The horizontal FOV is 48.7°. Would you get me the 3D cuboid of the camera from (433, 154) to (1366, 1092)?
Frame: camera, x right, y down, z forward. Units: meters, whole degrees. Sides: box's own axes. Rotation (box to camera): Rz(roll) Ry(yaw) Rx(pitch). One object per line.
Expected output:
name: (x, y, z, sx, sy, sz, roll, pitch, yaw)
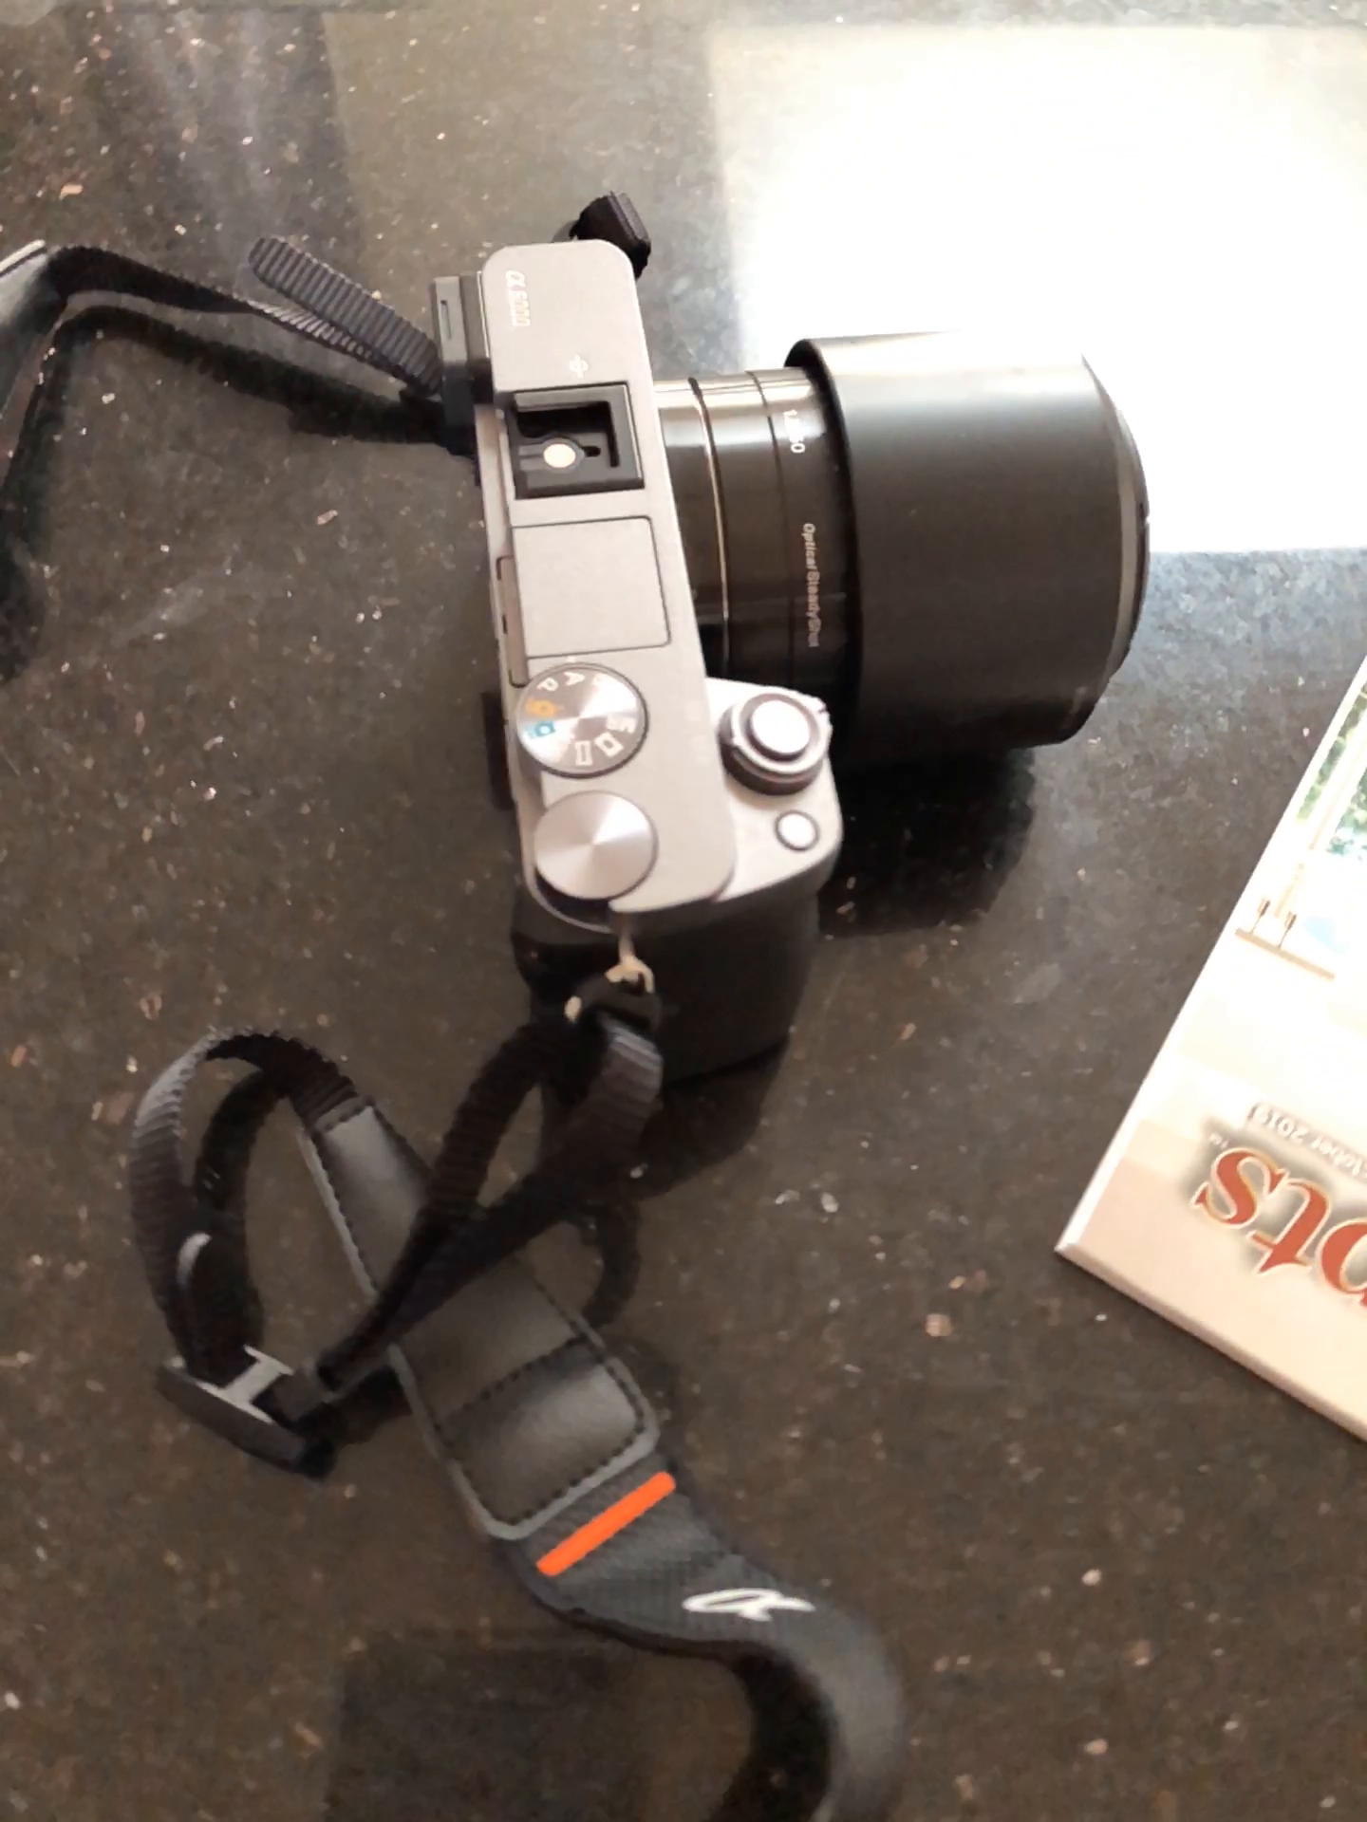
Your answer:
camera: (0.025, -0.046, 0.232, 0.110, 0.060, 0.120, -7, 64, -7)
